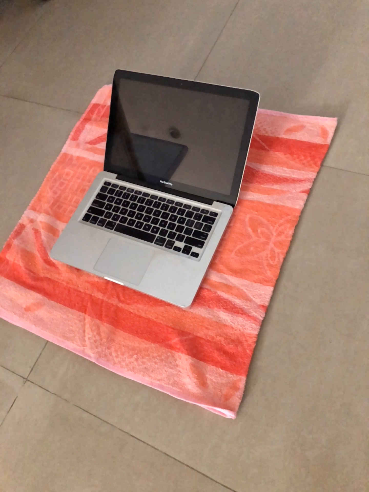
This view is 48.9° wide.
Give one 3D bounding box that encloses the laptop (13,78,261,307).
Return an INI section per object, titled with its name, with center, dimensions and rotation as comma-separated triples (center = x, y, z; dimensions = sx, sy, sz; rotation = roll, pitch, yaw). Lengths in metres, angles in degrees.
[laptop]
center = -0.068, -0.120, 0.780
dimensions = 0.309, 0.133, 0.373
rotation = 18, 67, 20
